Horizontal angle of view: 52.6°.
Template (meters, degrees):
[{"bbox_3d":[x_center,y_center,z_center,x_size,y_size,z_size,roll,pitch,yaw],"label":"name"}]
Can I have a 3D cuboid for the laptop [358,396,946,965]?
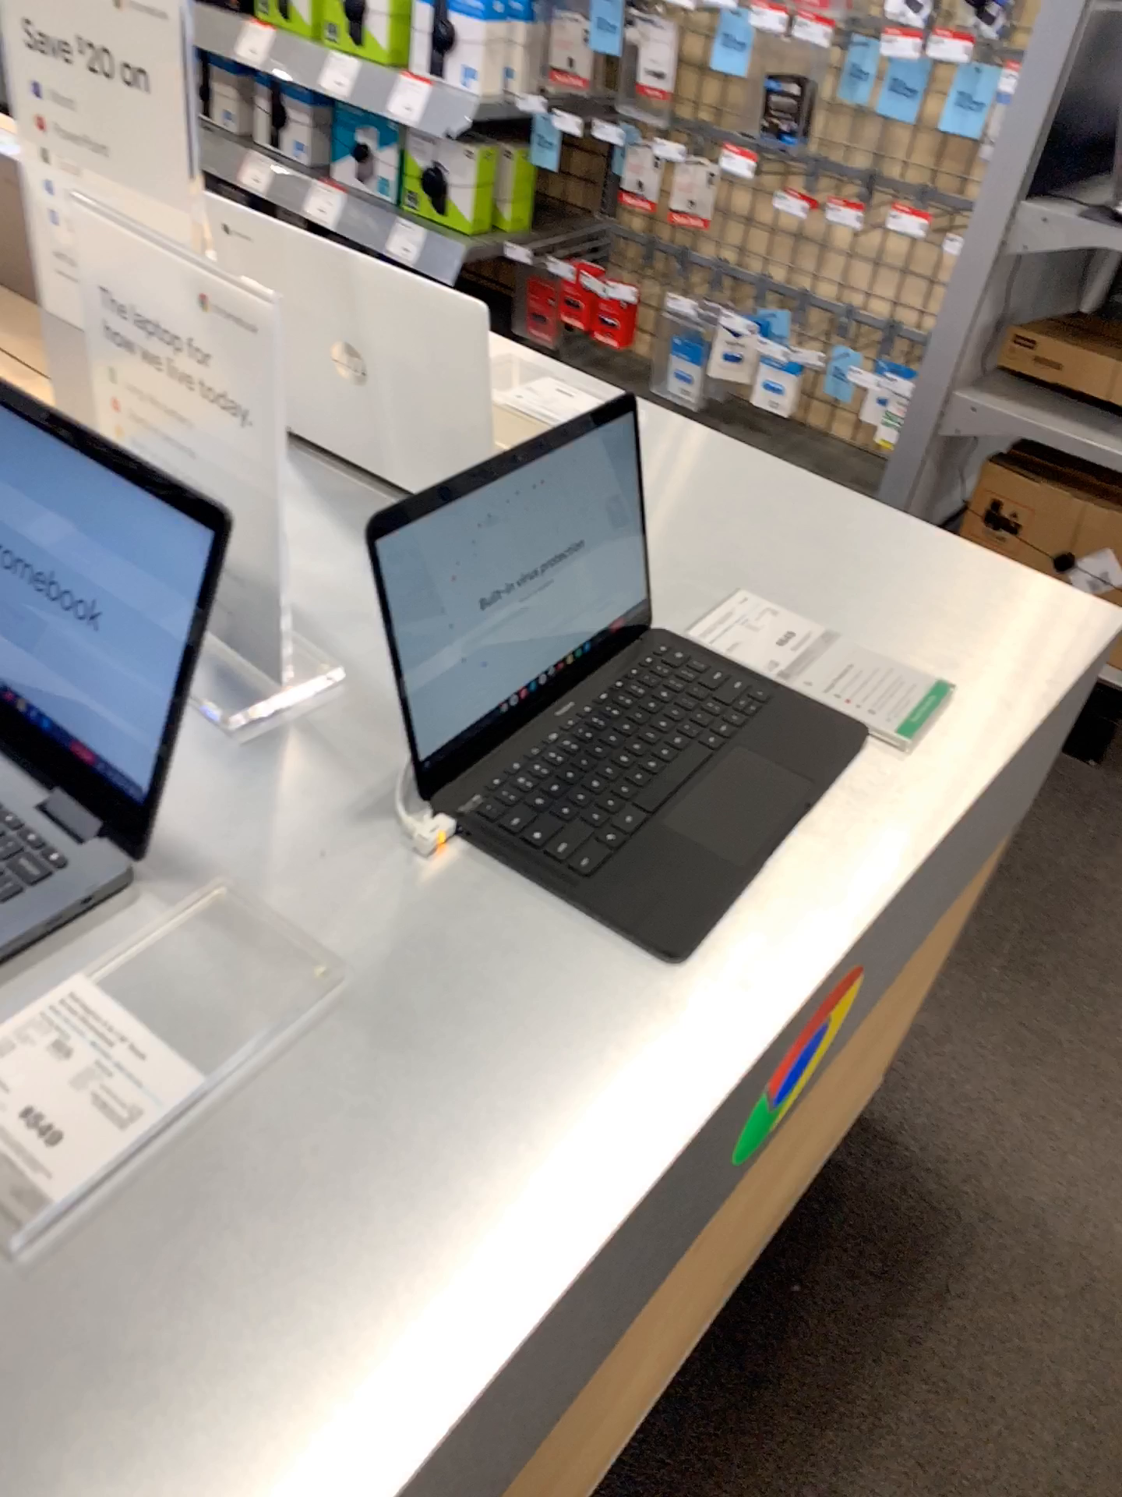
[{"bbox_3d":[0.061,-0.068,0.763,0.253,0.179,0.295,29,43,21],"label":"laptop"}]
